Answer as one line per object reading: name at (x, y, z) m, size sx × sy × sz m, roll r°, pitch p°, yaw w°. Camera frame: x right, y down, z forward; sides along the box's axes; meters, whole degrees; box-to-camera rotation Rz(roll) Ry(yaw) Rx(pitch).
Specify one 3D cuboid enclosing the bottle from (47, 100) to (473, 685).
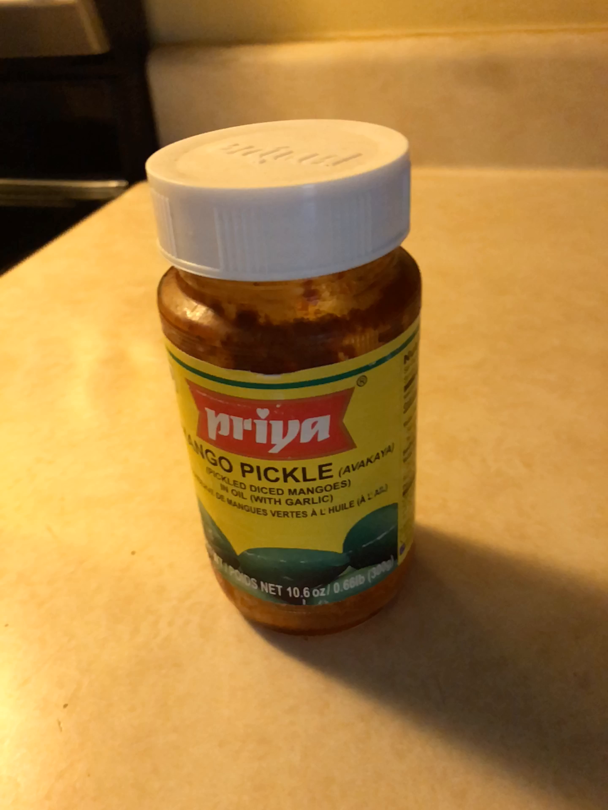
bottle at (-0.001, -0.002, 0.176) m, size 0.070 × 0.130 × 0.060 m, roll 8°, pitch 35°, yaw 18°
